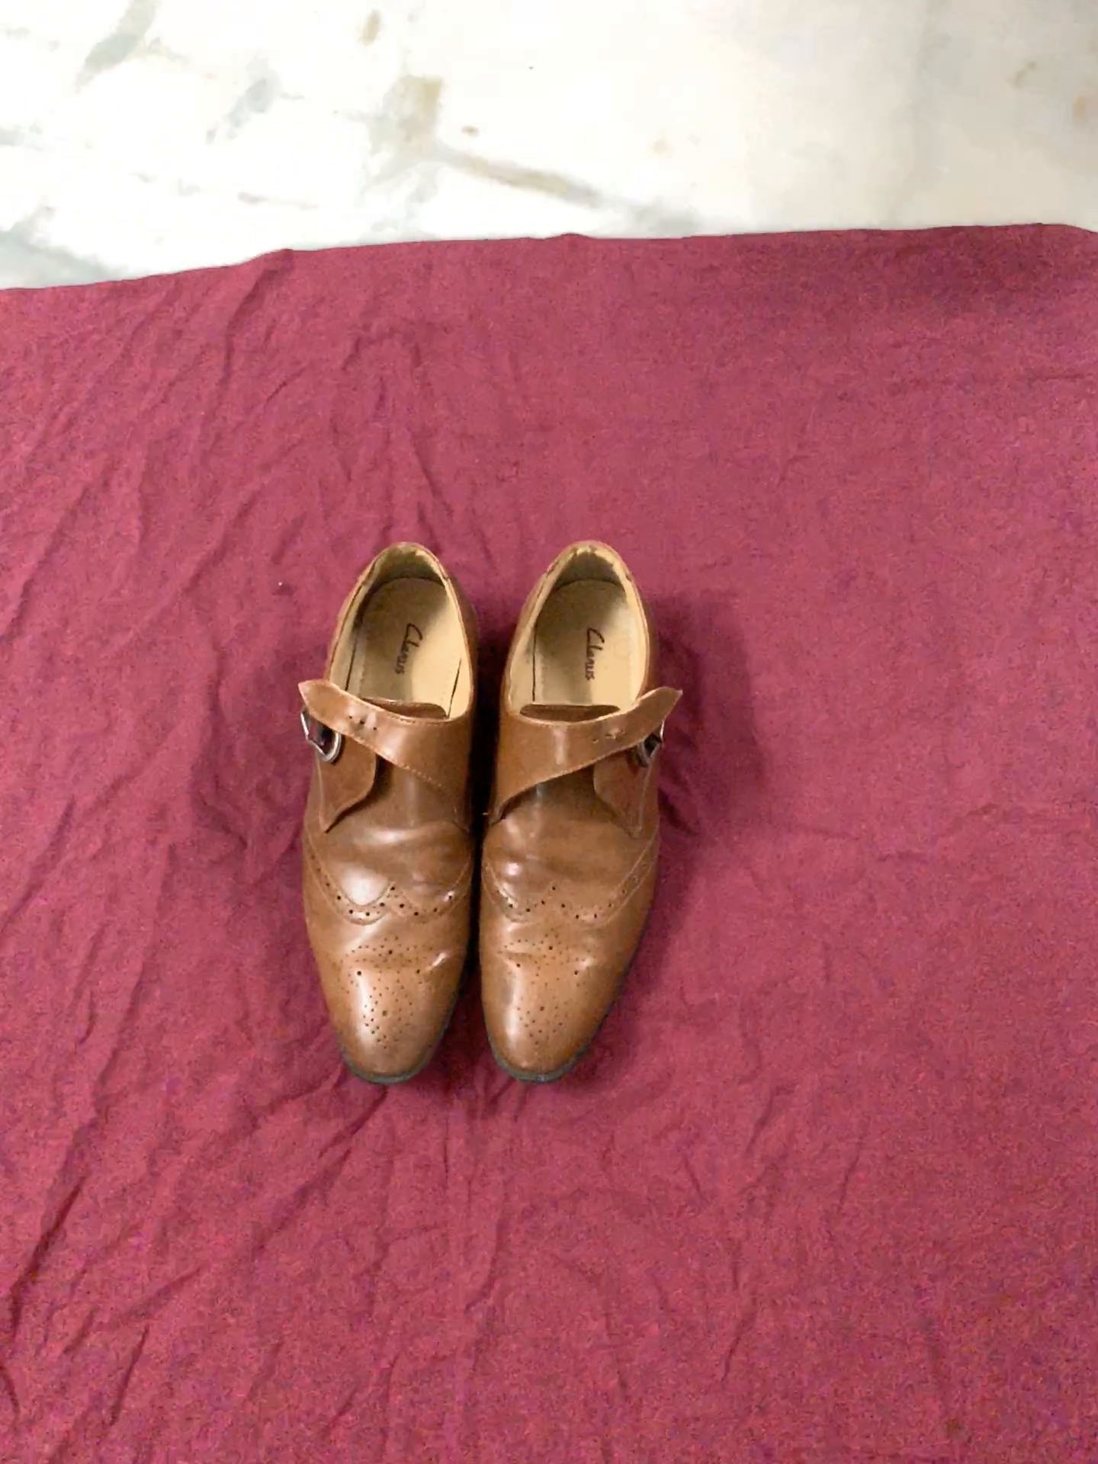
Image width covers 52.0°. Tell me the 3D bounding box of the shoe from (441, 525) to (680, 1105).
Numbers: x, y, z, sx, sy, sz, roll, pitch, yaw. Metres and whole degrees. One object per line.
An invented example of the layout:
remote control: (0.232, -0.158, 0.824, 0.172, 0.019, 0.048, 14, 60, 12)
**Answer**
shoe: (0.012, 0.042, 0.644, 0.100, 0.090, 0.311, 5, 67, 2)

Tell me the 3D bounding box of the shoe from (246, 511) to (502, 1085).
shoe: (-0.085, 0.031, 0.622, 0.100, 0.090, 0.301, 2, 67, 1)
